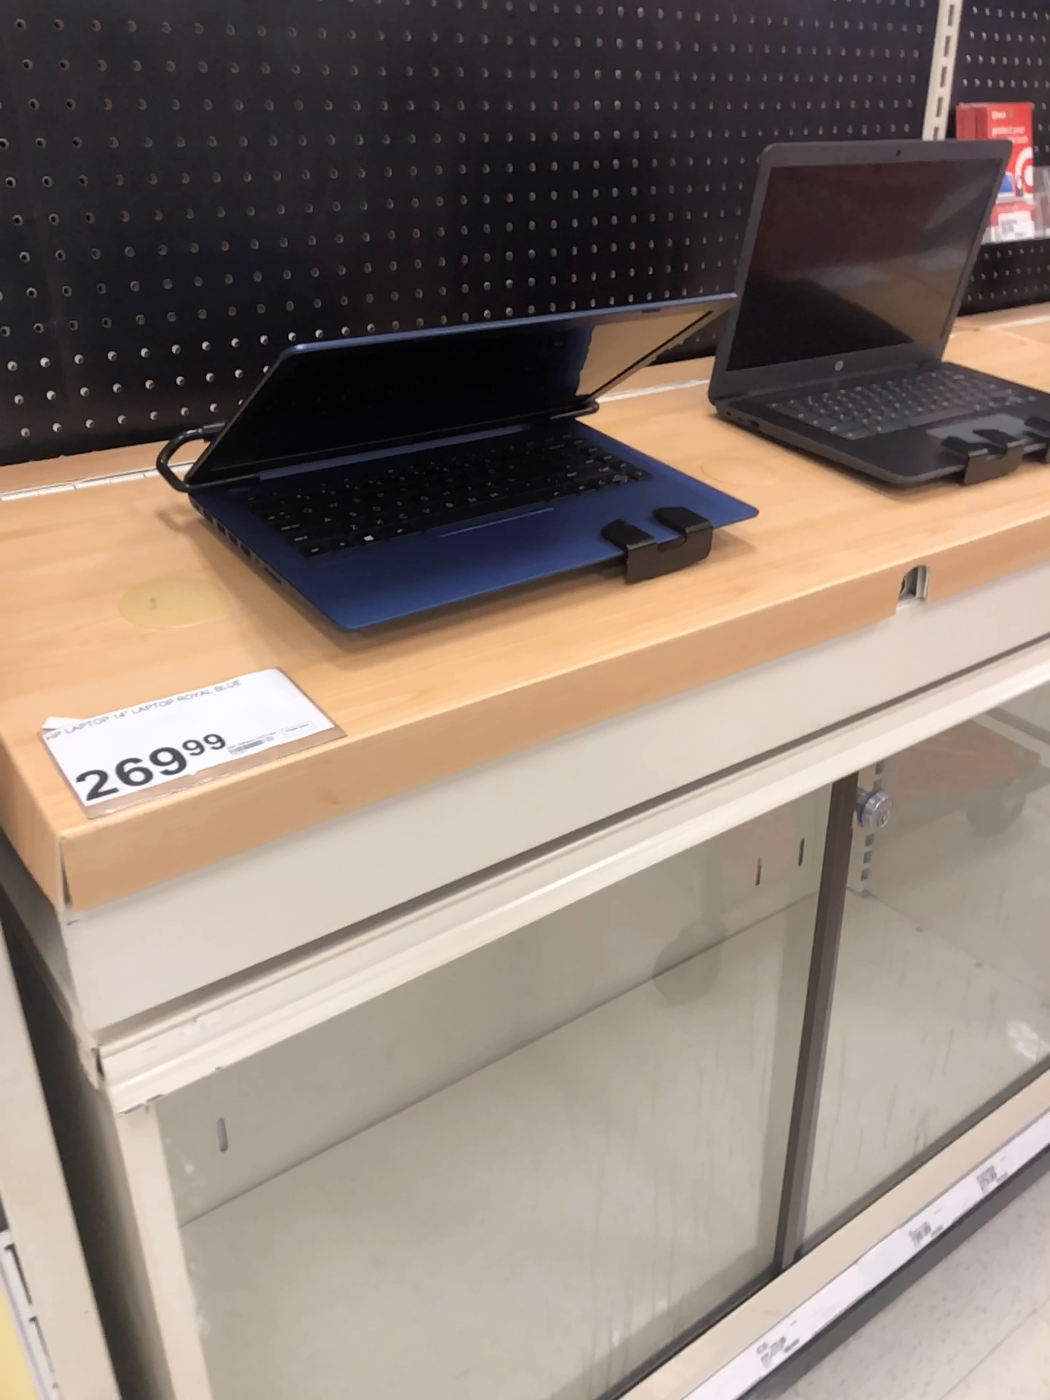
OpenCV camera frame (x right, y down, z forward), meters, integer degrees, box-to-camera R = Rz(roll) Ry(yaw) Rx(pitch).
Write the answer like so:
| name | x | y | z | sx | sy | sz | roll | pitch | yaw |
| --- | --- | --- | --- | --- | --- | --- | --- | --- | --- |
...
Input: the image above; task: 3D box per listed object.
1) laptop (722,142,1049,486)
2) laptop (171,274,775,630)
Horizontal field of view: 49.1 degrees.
| name | x | y | z | sx | sy | sz | roll | pitch | yaw |
| --- | --- | --- | --- | --- | --- | --- | --- | --- | --- |
| laptop | 0.366 | -0.352 | 0.996 | 0.331 | 0.206 | 0.224 | -18 | 33 | -30 |
| laptop | -0.027 | -0.180 | 0.745 | 0.321 | 0.110 | 0.201 | -19 | 38 | -32 |
